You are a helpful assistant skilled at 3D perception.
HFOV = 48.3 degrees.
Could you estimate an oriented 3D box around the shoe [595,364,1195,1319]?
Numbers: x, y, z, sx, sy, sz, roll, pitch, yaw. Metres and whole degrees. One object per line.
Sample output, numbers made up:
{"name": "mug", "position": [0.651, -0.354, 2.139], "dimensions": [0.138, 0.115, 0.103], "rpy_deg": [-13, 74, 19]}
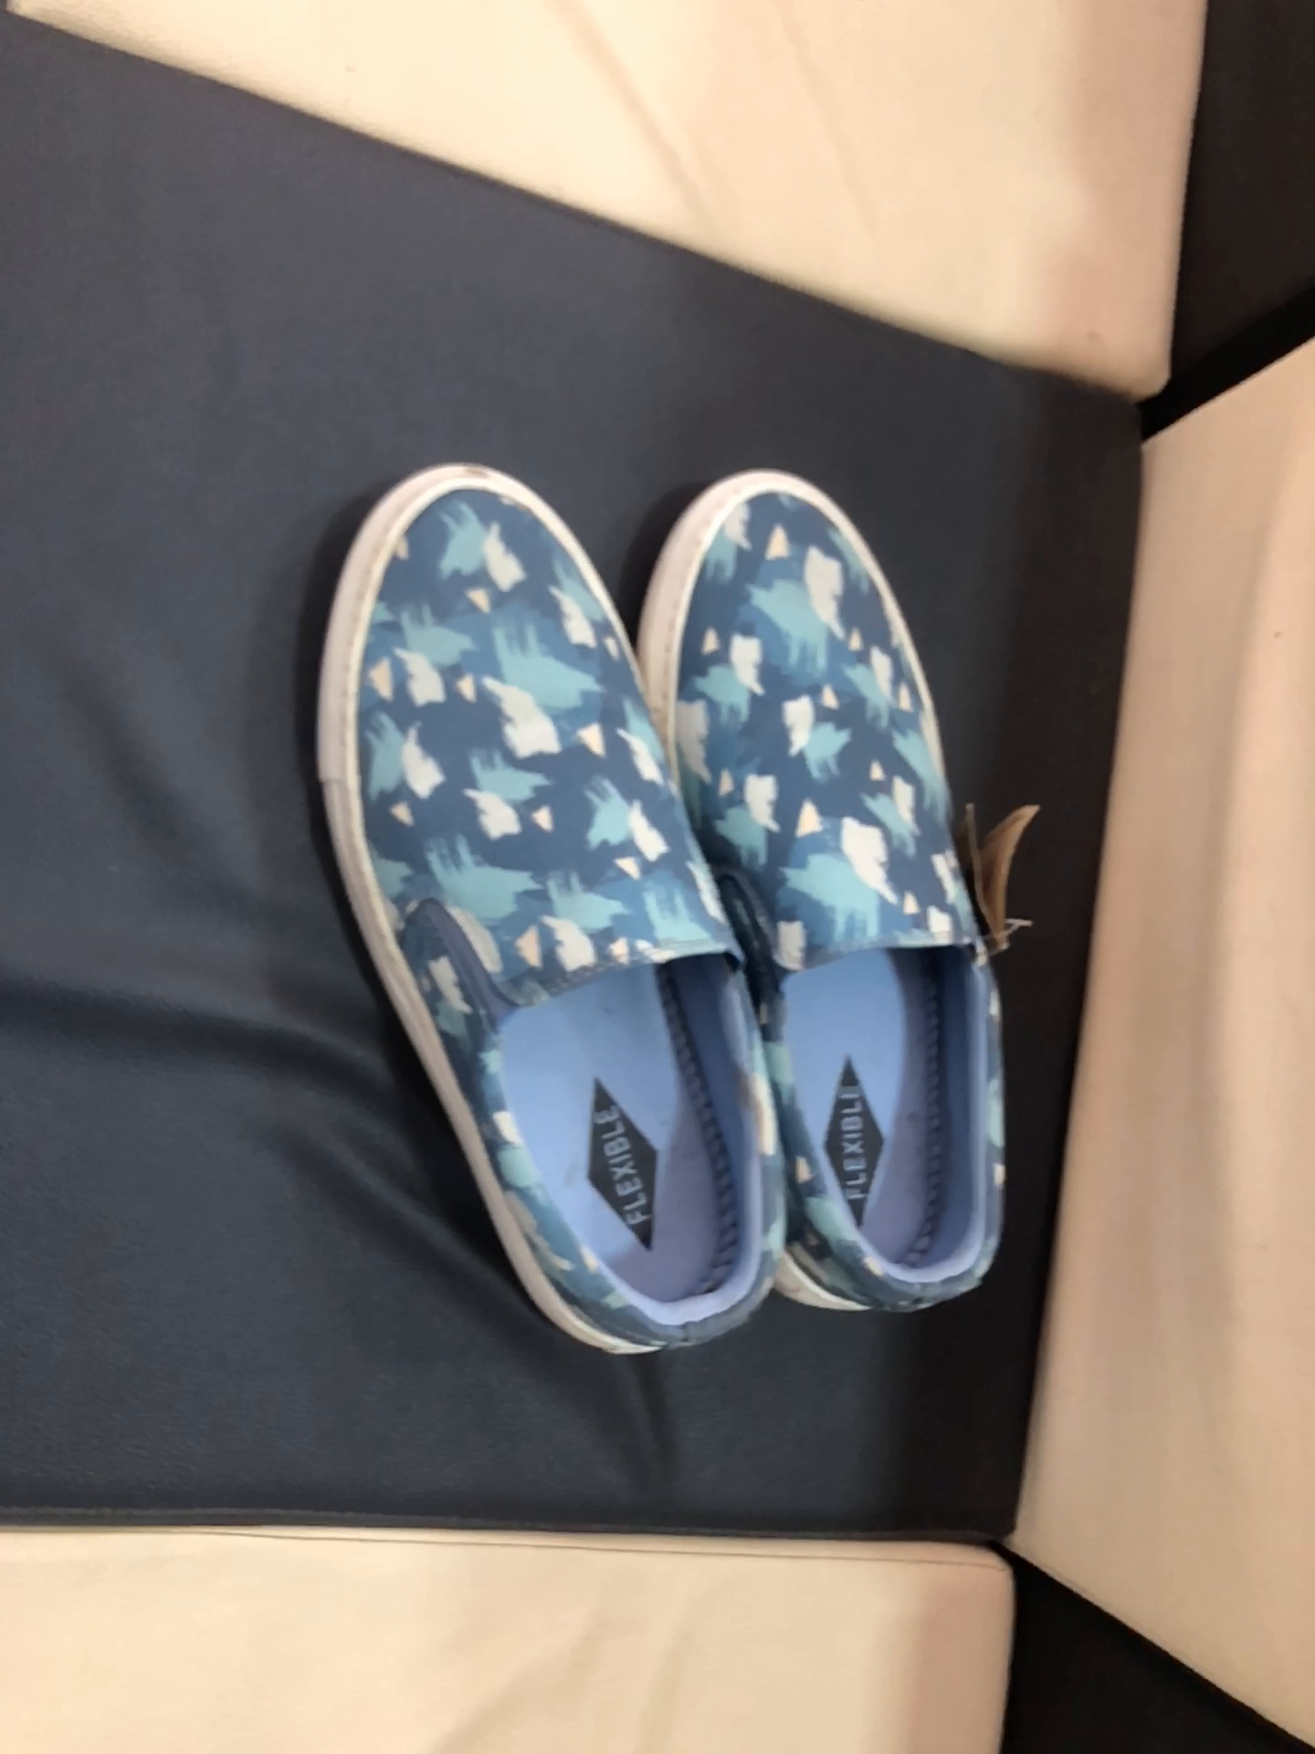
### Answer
{"name": "shoe", "position": [0.078, -0.013, 0.486], "dimensions": [0.110, 0.060, 0.280], "rpy_deg": [-17, 93, -20]}

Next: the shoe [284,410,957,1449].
{"name": "shoe", "position": [-0.016, 0.013, 0.470], "dimensions": [0.120, 0.090, 0.280], "rpy_deg": [-17, 93, -19]}
